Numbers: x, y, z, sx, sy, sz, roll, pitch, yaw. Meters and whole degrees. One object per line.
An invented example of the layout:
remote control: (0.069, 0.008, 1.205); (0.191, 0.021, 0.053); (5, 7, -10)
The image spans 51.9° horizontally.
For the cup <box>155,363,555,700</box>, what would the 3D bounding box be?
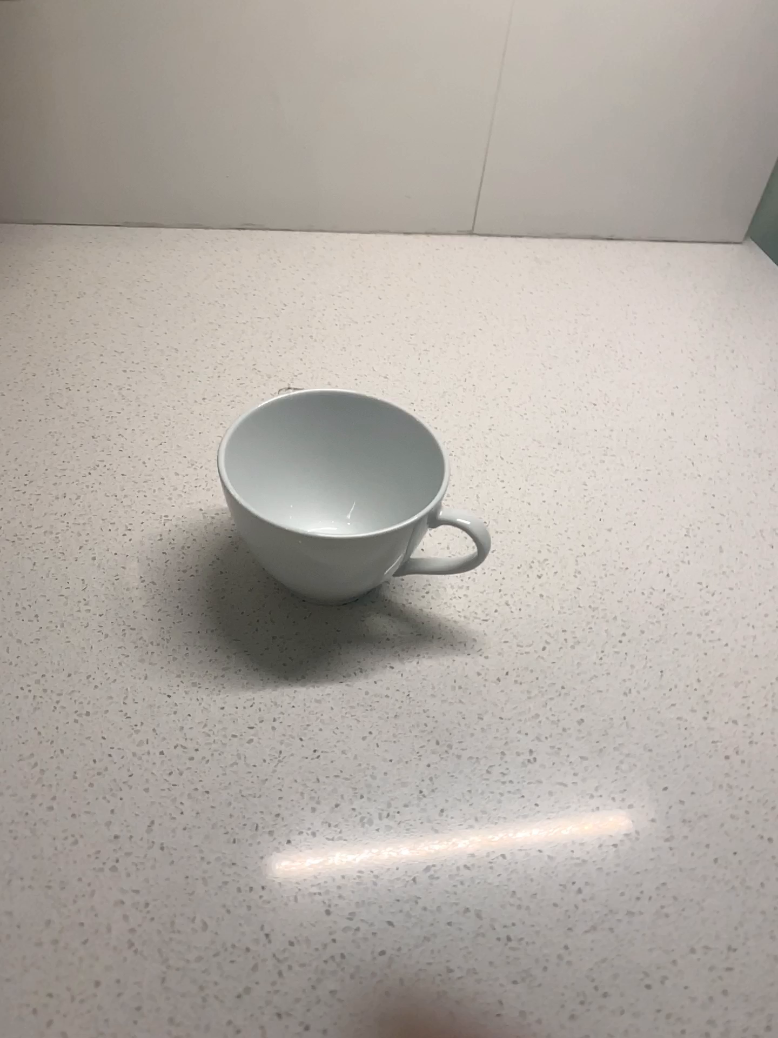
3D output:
cup: (-0.012, -0.001, 0.331); (0.130, 0.050, 0.090); (23, 47, 15)

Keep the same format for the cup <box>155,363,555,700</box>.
cup: (-0.012, -0.001, 0.331); (0.130, 0.050, 0.090); (23, 47, 15)
